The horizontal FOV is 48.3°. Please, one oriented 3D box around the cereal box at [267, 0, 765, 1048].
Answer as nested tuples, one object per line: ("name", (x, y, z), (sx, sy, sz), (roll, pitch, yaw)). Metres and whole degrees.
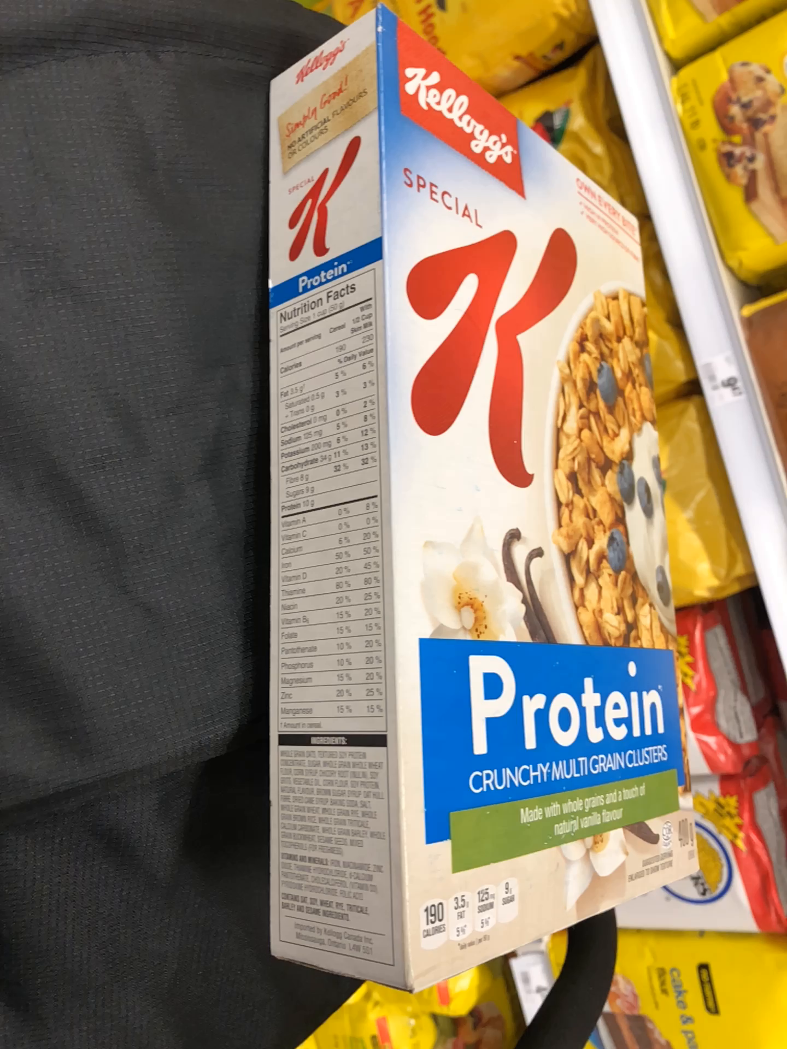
("cereal box", (0.049, -0.005, 0.295), (0.191, 0.050, 0.270), (11, 72, -47))
